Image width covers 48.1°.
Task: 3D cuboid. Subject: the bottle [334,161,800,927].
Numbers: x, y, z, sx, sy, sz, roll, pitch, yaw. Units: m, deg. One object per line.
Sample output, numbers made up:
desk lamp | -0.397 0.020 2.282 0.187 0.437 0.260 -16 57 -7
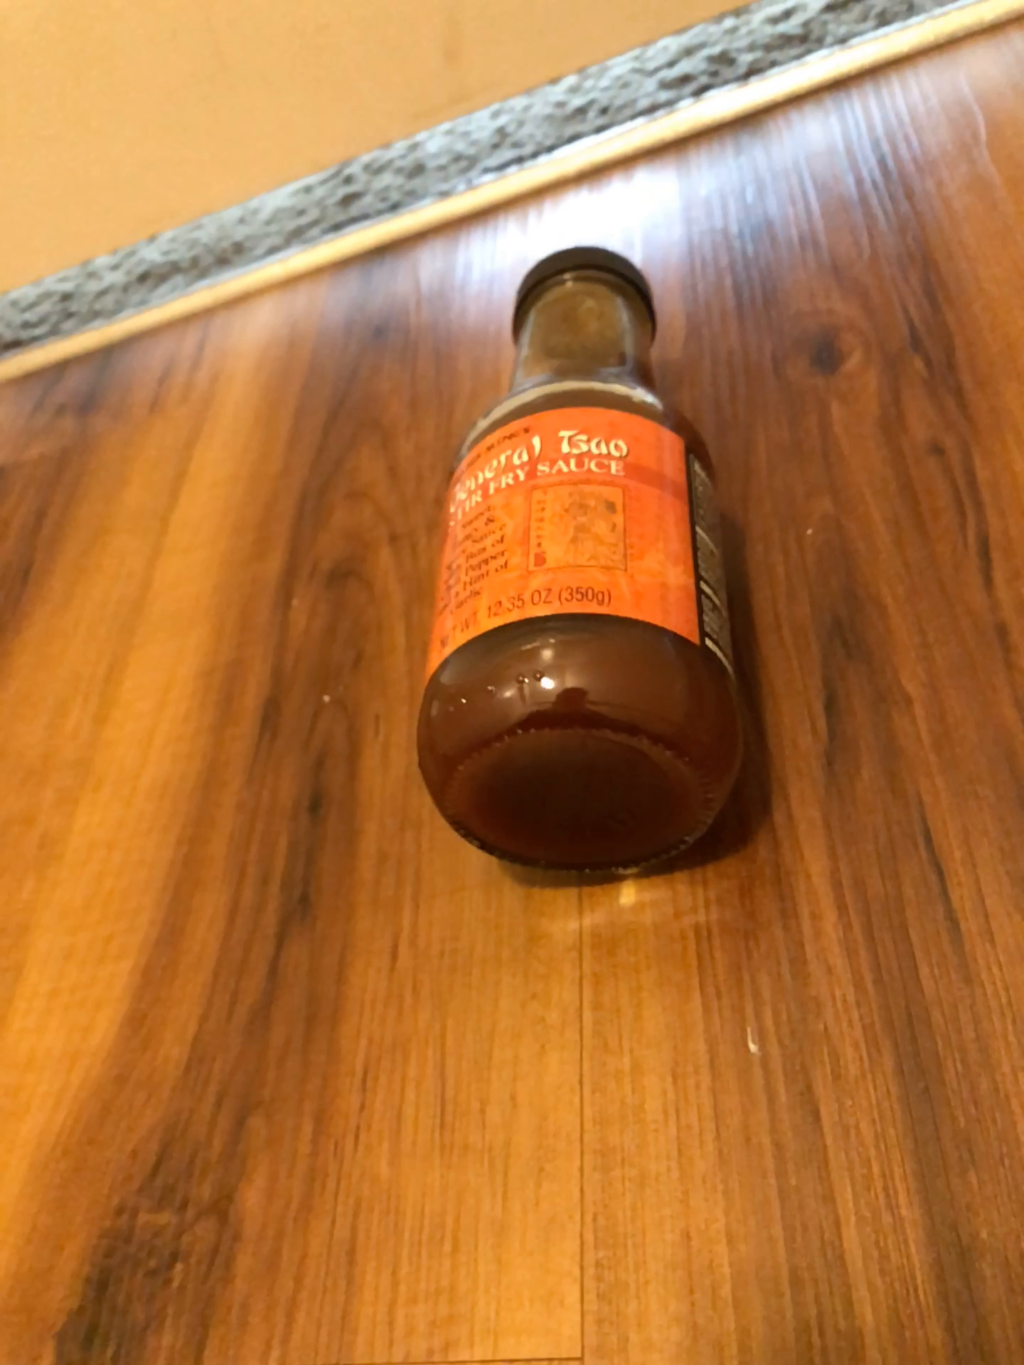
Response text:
bottle | 0.016 -0.042 0.273 0.069 0.060 0.180 -16 45 21
